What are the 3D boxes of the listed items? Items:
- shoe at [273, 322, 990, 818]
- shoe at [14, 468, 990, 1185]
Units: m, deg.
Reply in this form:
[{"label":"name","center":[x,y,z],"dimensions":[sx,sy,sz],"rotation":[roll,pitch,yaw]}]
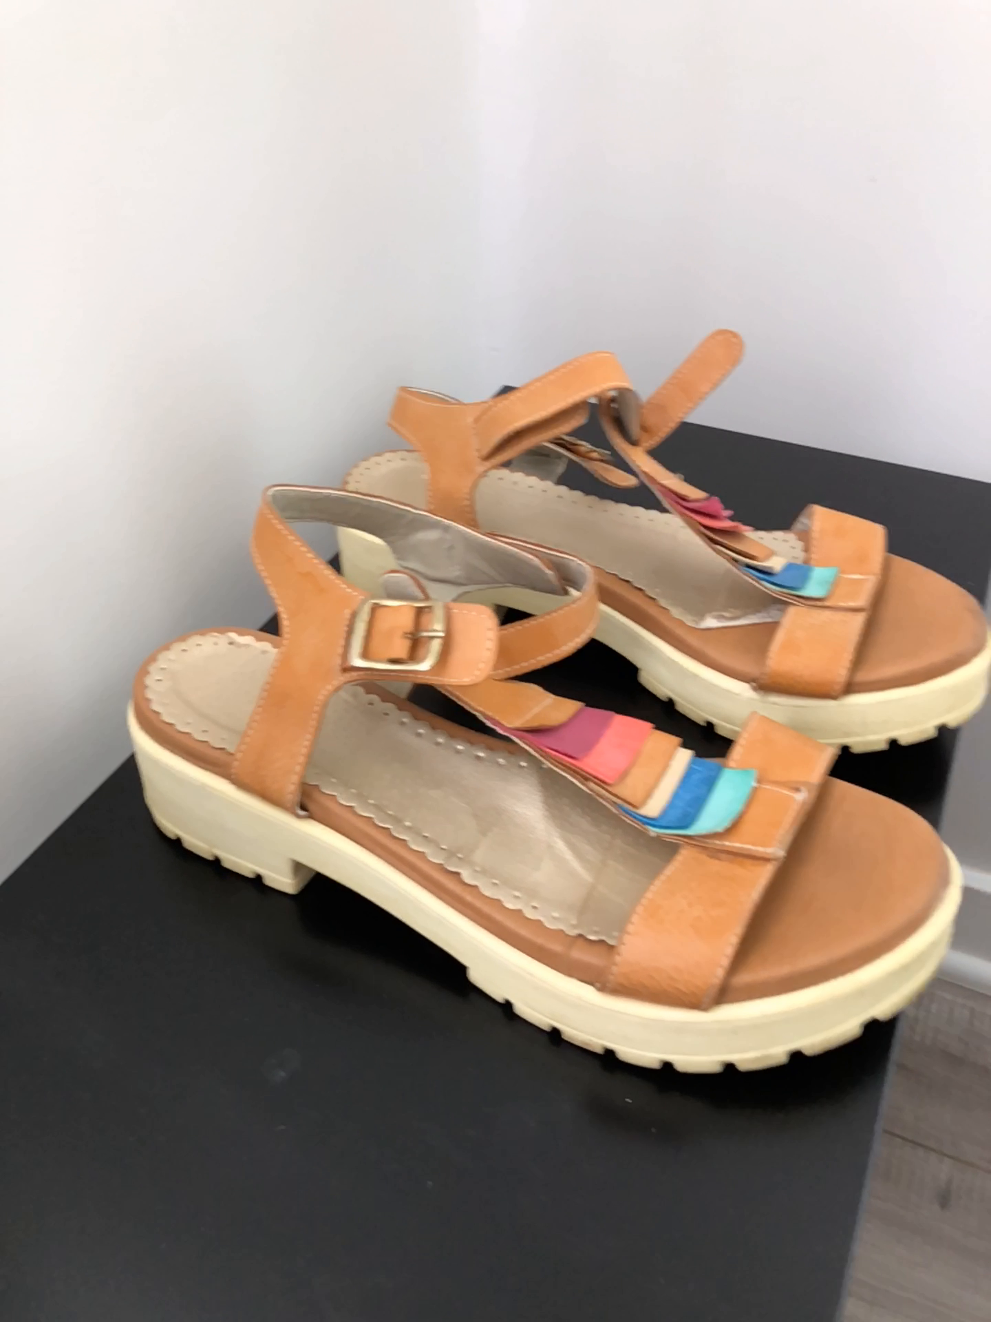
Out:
[{"label":"shoe","center":[0.057,-0.045,0.393],"dimensions":[0.247,0.077,0.100],"rotation":[17,43,20]},{"label":"shoe","center":[0.003,0.031,0.315],"dimensions":[0.247,0.083,0.100],"rotation":[17,43,20]}]
